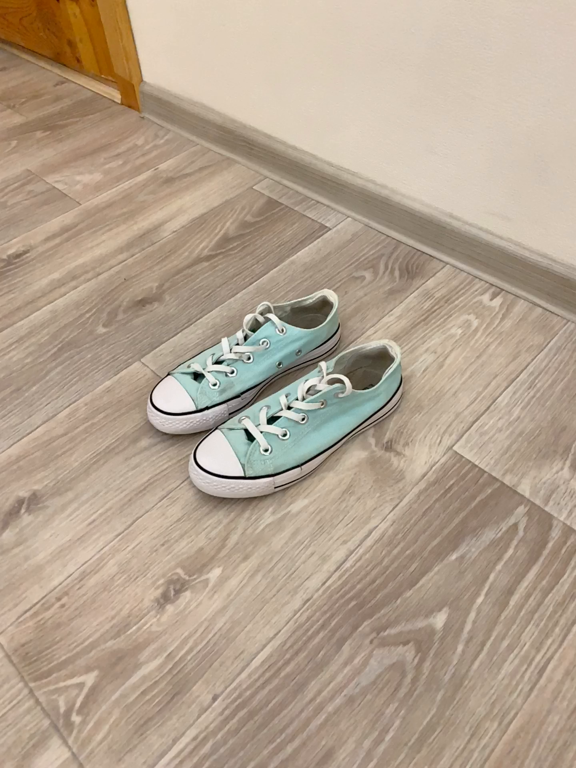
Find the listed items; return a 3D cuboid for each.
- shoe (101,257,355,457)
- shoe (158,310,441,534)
[{"bbox_3d":[-0.055,-0.037,0.622,0.250,0.060,0.093,-32,54,-22],"label":"shoe"},{"bbox_3d":[0.015,0.028,0.570,0.250,0.060,0.100,-28,53,-19],"label":"shoe"}]
